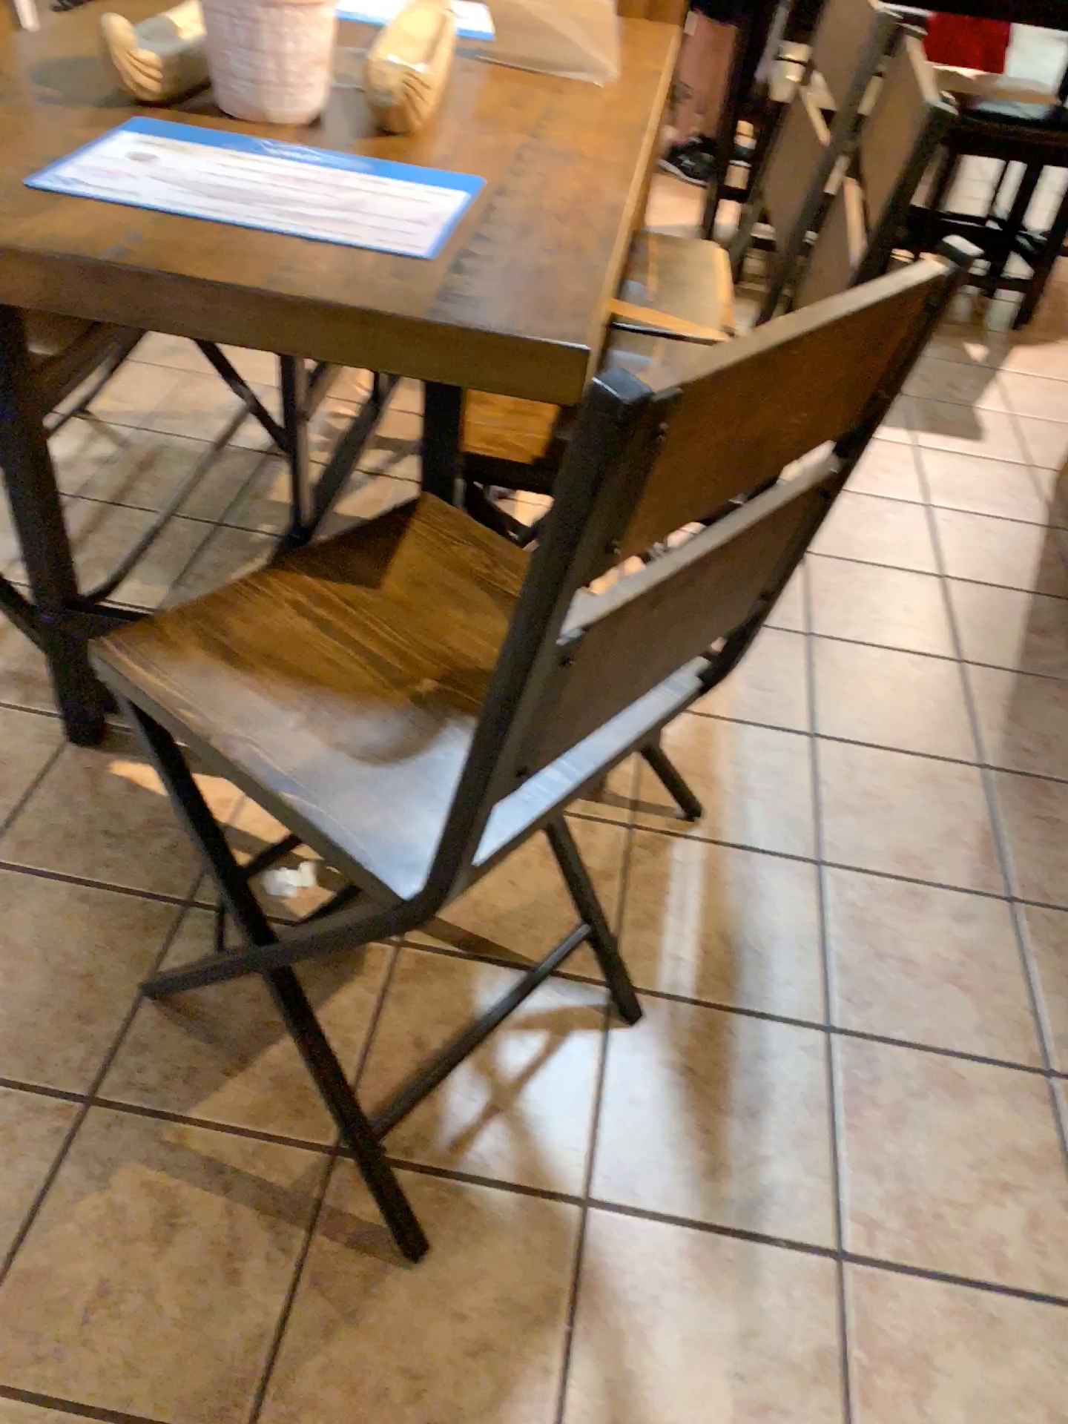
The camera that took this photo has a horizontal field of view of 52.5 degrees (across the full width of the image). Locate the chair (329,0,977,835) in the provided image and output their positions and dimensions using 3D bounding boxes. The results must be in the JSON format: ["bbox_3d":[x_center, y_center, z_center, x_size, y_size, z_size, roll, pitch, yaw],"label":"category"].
[{"bbox_3d":[0.108,-0.392,1.539,0.615,1.003,0.495,9,42,4],"label":"chair"}]

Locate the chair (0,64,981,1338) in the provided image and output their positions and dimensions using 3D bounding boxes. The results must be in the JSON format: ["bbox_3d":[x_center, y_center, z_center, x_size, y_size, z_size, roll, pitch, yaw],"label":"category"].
[{"bbox_3d":[-0.117,0.002,1.055,0.617,0.983,0.443,32,45,28],"label":"chair"}]
